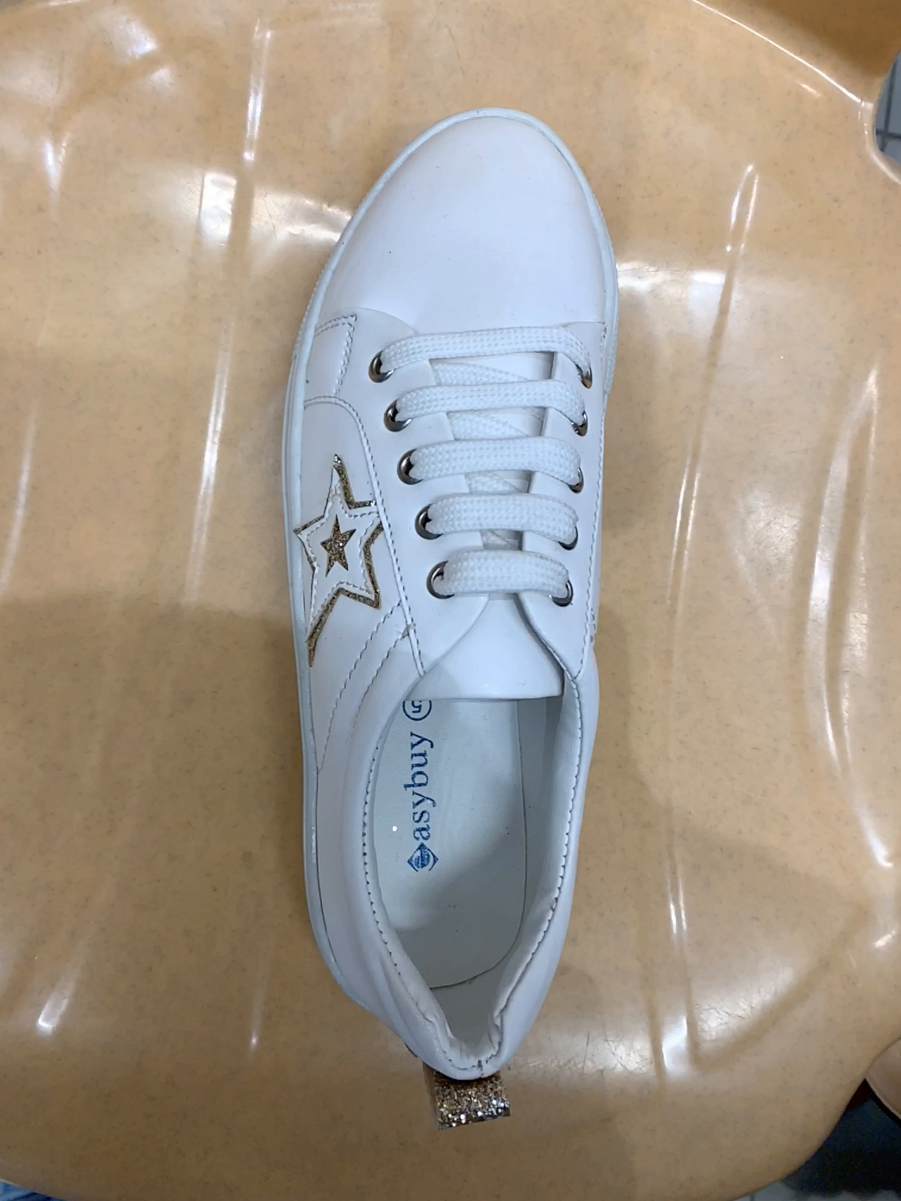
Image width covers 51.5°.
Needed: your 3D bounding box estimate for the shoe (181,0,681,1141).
[{"bbox_3d":[-0.008,-0.006,0.240,0.090,0.090,0.240,4,91,-6],"label":"shoe"}]
